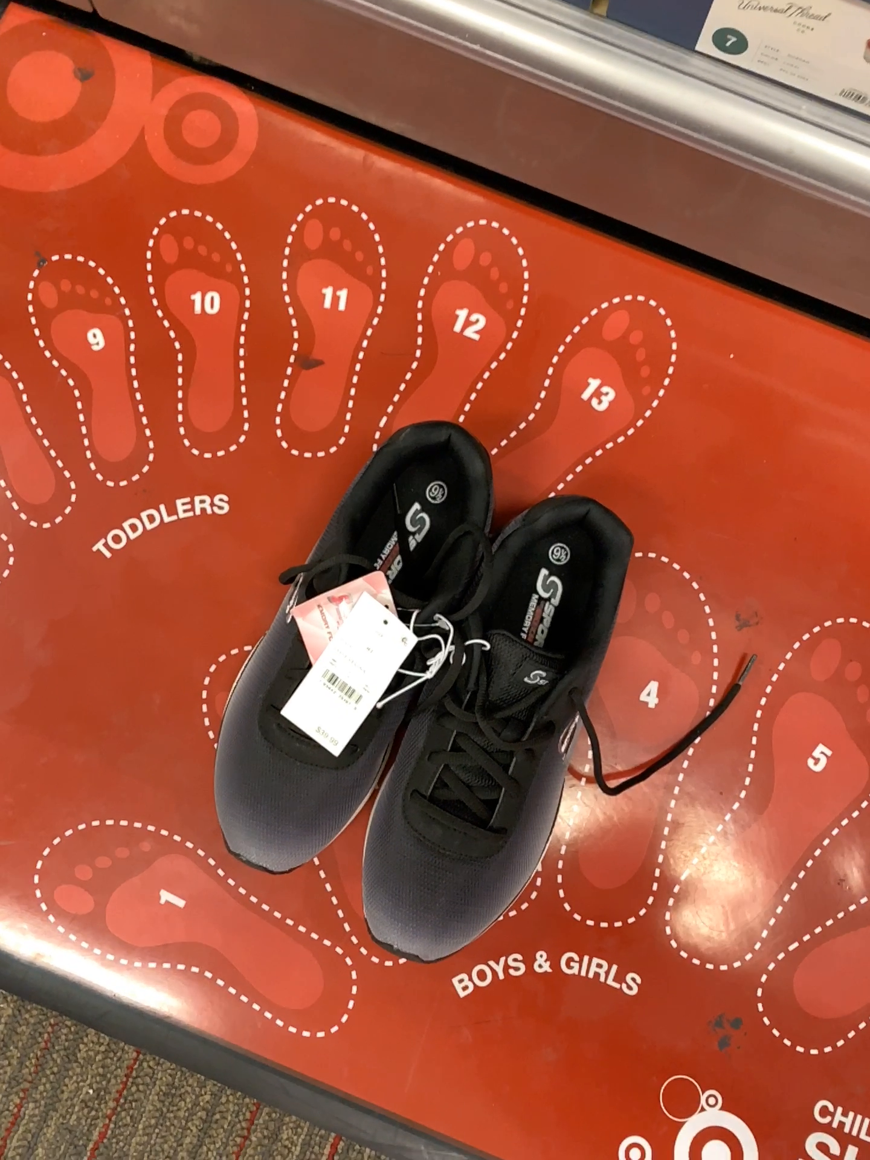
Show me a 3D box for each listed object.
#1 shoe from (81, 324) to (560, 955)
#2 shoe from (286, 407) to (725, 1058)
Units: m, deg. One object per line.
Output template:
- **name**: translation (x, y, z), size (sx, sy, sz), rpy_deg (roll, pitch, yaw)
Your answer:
- **shoe**: translation (-0.047, 0.026, 0.442), size (0.100, 0.100, 0.260), rpy_deg (27, 83, 3)
- **shoe**: translation (0.033, 0.066, 0.437), size (0.100, 0.100, 0.260), rpy_deg (23, 82, 2)
